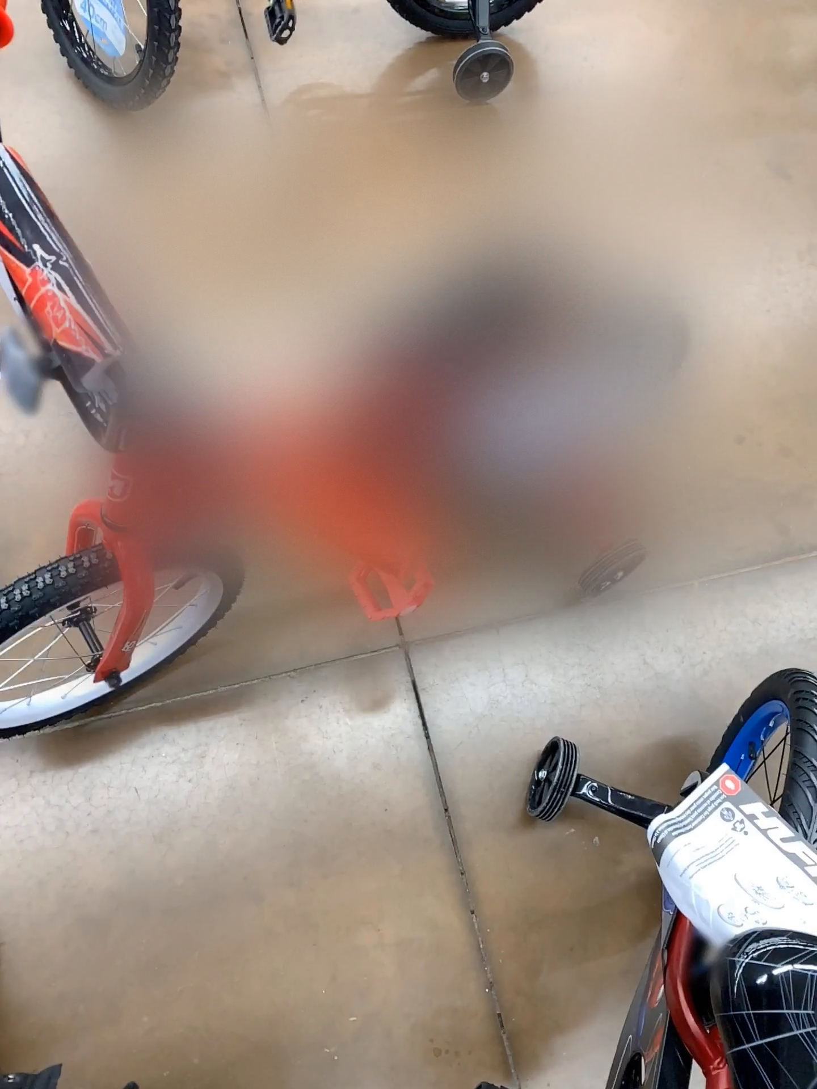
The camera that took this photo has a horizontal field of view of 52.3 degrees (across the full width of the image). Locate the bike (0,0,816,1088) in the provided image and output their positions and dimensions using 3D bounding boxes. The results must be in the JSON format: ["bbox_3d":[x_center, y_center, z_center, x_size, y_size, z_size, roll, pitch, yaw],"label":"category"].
[{"bbox_3d":[-0.013,-0.090,0.908,1.140,0.957,0.516,-27,72,-18],"label":"bike"}]
